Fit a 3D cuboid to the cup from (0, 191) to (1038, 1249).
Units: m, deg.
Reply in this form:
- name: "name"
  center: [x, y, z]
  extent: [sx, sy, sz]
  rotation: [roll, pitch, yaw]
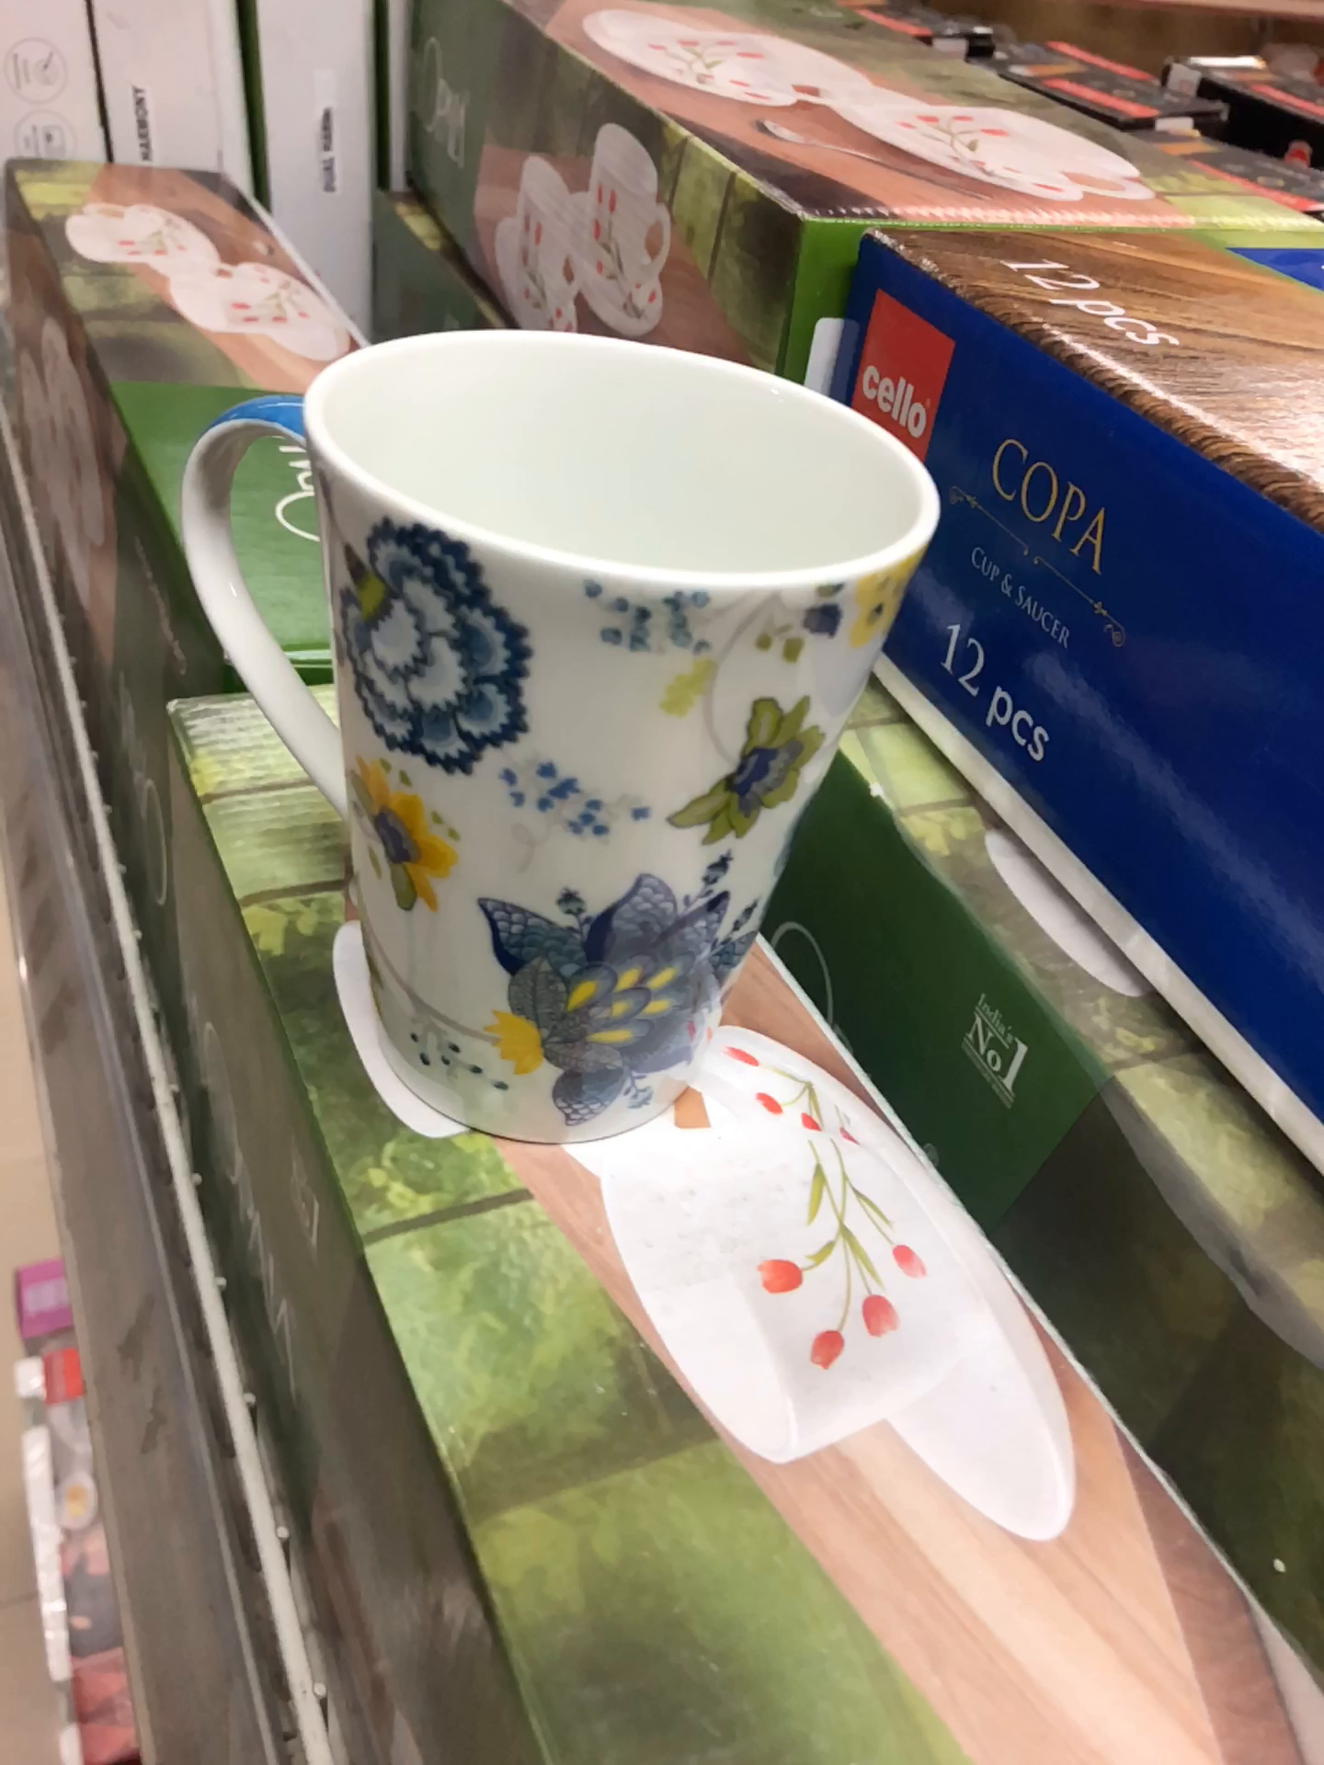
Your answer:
- name: "cup"
  center: [-0.026, -0.030, 0.193]
  extent: [0.110, 0.079, 0.070]
  rotation: [32, 44, 27]
